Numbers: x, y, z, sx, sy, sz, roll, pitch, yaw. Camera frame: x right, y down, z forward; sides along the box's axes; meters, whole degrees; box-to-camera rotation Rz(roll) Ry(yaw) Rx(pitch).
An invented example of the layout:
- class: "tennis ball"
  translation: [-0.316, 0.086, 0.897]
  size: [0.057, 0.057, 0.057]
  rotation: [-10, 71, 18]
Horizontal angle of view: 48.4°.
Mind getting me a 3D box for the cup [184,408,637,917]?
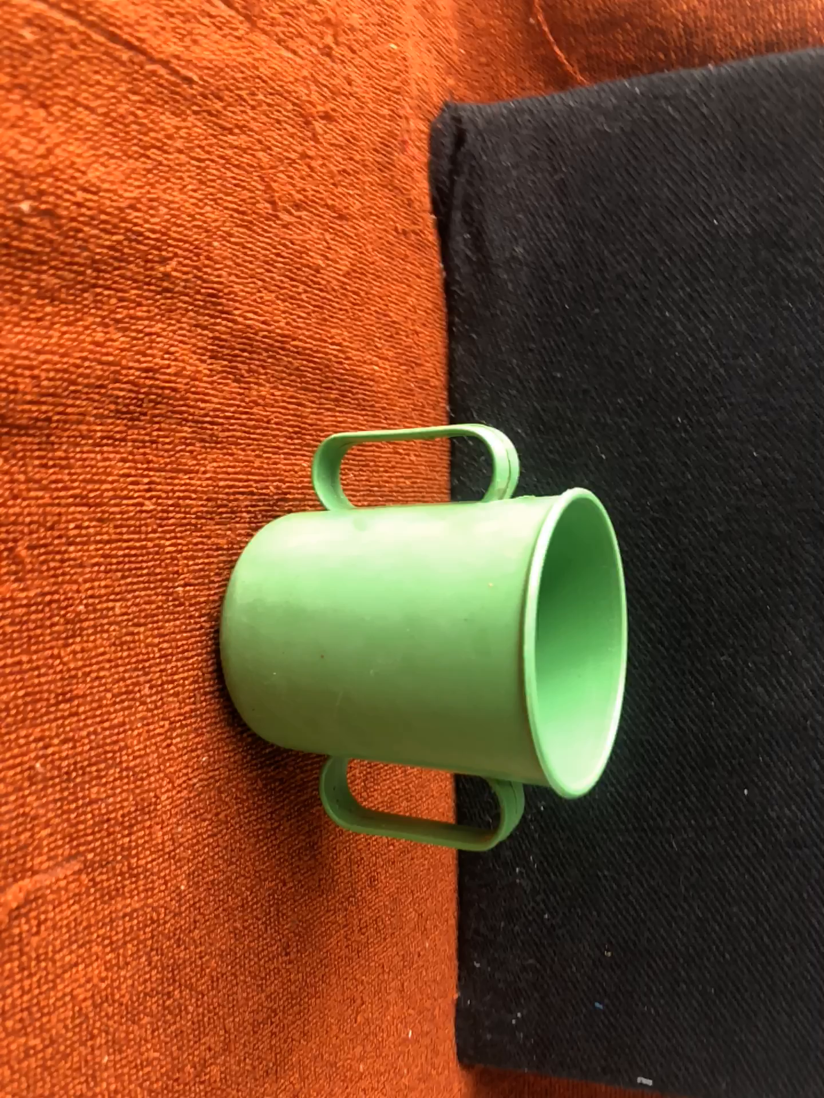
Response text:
- class: "cup"
  translation: [0.006, 0.018, 0.229]
  size: [0.081, 0.079, 0.100]
  rotation: [-18, 106, -62]
